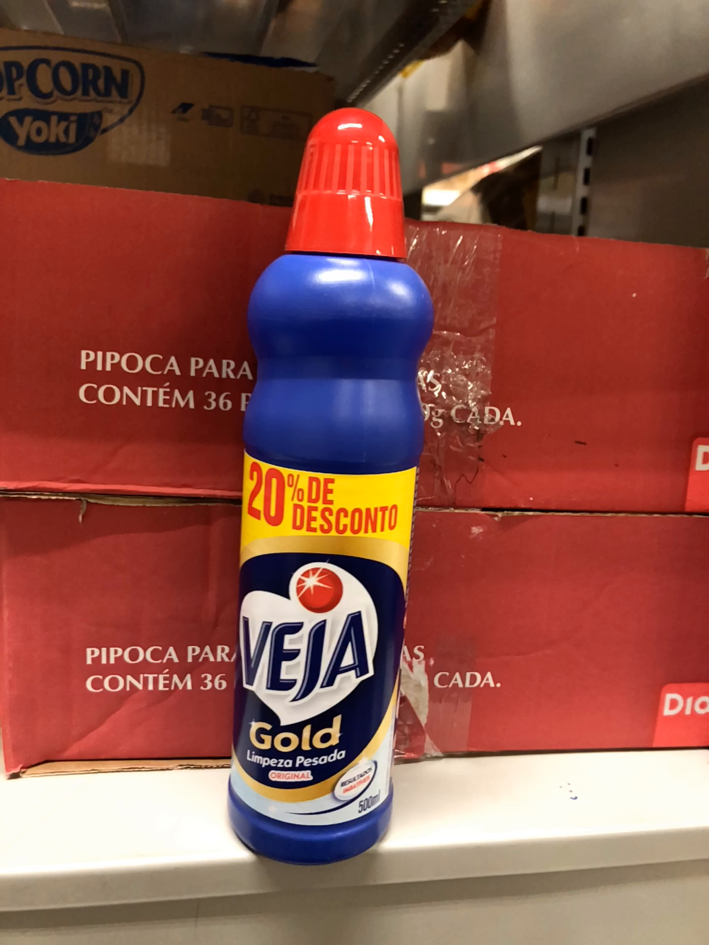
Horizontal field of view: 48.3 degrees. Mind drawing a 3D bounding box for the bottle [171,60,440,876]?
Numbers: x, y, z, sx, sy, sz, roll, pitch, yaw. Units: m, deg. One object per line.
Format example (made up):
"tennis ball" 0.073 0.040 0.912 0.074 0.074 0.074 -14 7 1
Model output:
"bottle" -0.013 0.003 0.274 0.070 0.249 0.070 1 13 0
